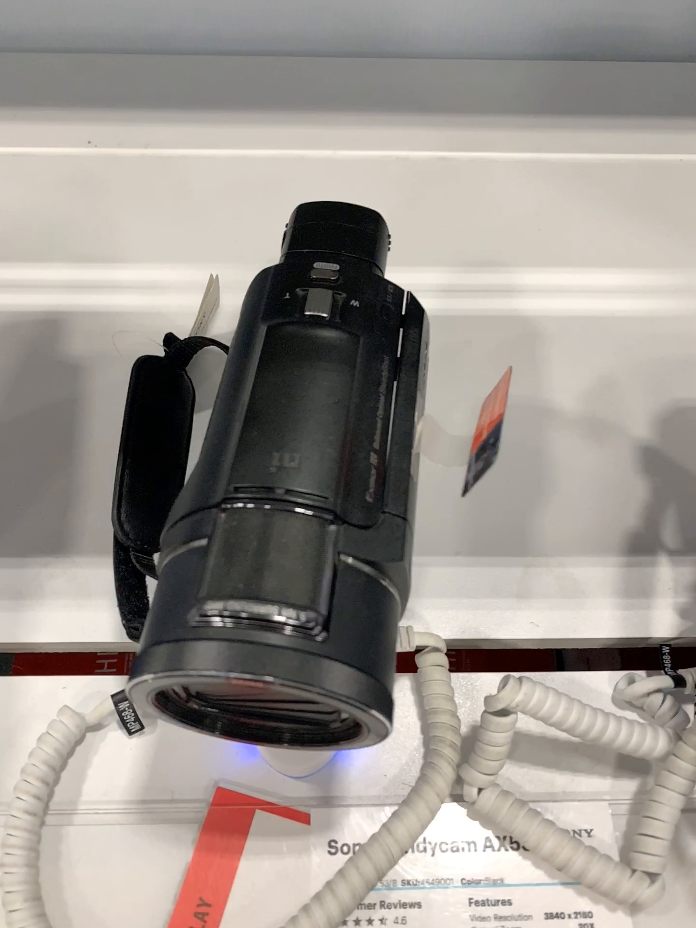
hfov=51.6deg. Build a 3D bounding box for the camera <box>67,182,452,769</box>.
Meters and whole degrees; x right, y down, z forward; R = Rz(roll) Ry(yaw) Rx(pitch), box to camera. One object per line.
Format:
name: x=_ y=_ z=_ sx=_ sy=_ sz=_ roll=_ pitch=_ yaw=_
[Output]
camera: x=-0.013 y=-0.001 z=0.213 sx=0.070 sy=0.071 sz=0.151 roll=7 pitch=58 yaw=2
